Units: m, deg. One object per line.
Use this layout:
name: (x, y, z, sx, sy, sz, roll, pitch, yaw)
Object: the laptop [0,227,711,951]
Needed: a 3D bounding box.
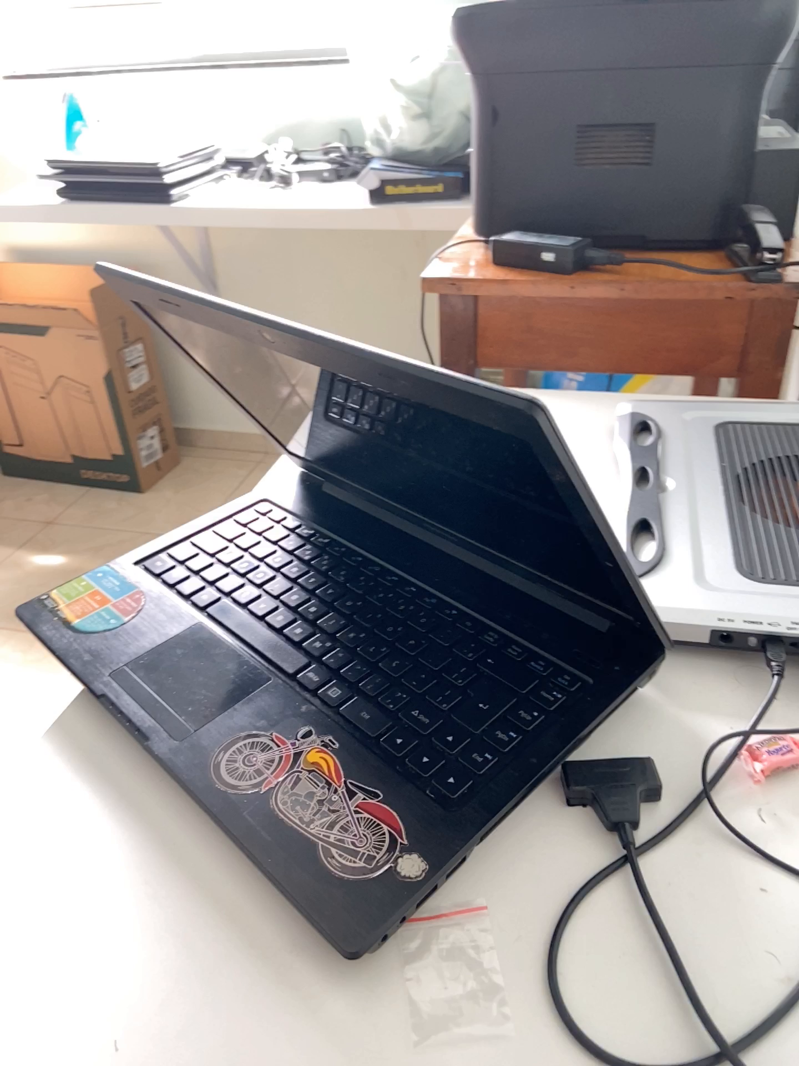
laptop: (-0.058, -0.024, 0.442, 0.233, 0.189, 0.330, -30, 40, -34)
